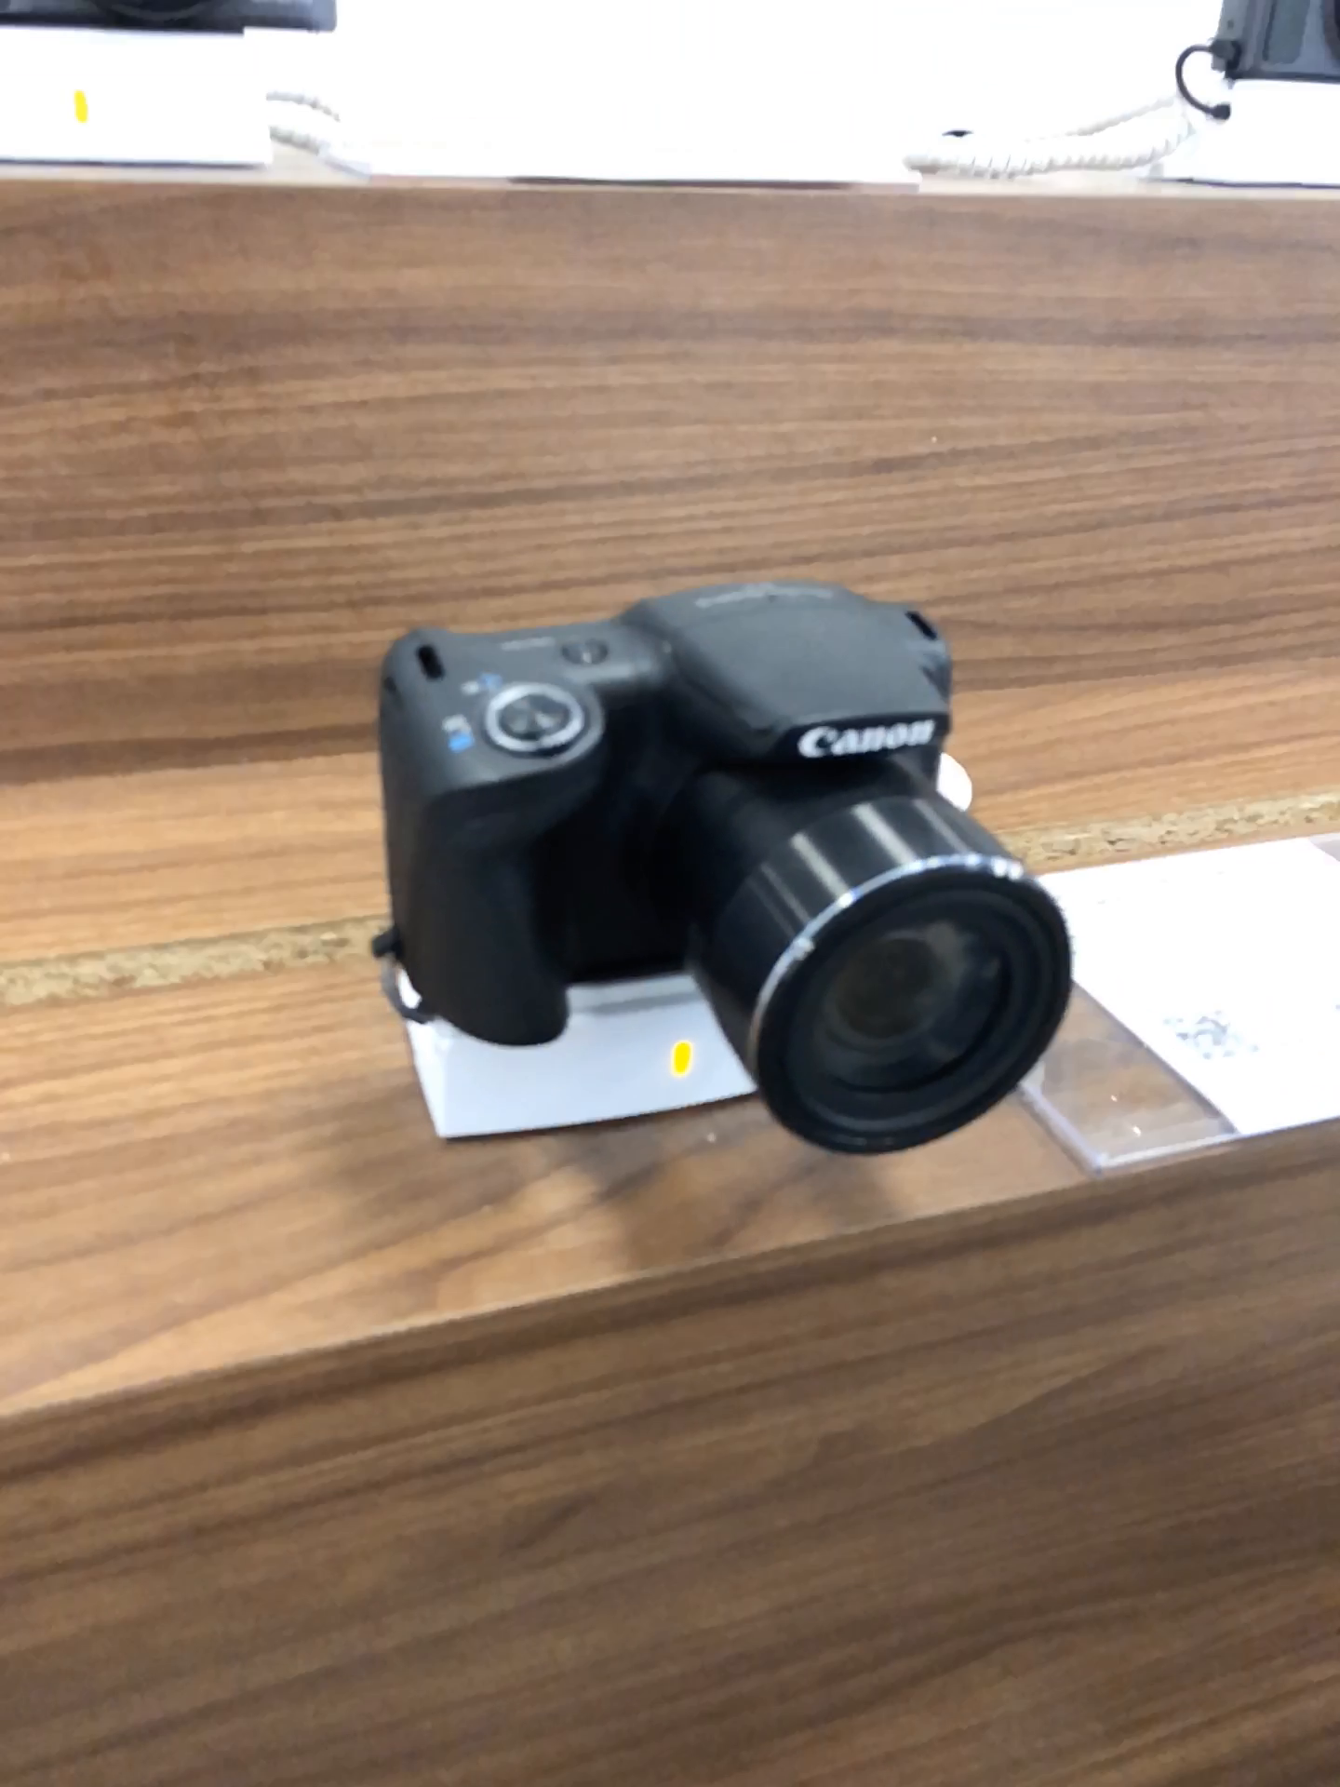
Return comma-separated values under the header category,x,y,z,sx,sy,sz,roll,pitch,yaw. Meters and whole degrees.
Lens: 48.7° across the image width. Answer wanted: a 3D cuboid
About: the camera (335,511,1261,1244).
category,x,y,z,sx,sy,sz,roll,pitch,yaw
camera,0.011,-0.015,0.250,0.110,0.070,0.110,-8,28,-20
